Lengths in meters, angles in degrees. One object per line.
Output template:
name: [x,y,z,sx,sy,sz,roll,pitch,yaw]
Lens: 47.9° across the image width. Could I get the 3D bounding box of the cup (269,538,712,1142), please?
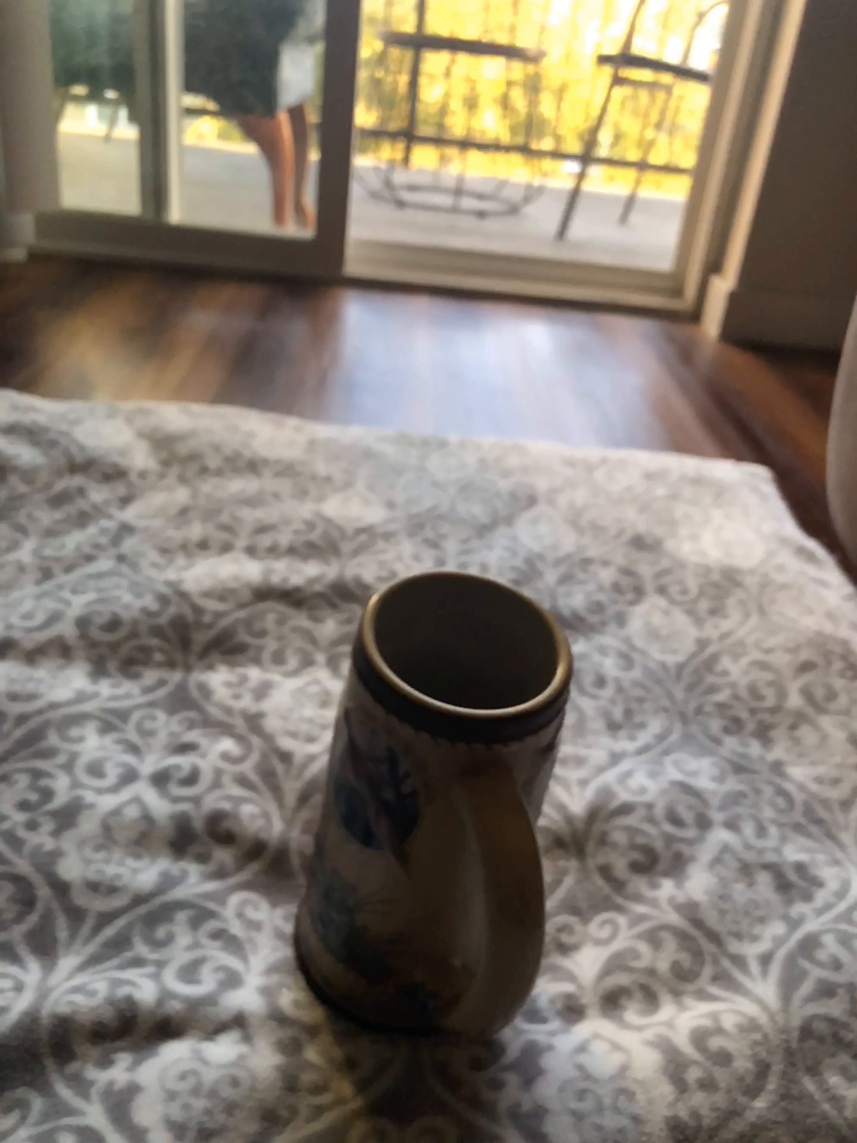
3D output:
cup: [0.003,0.109,0.384,0.099,0.188,0.145,-5,40,-19]
